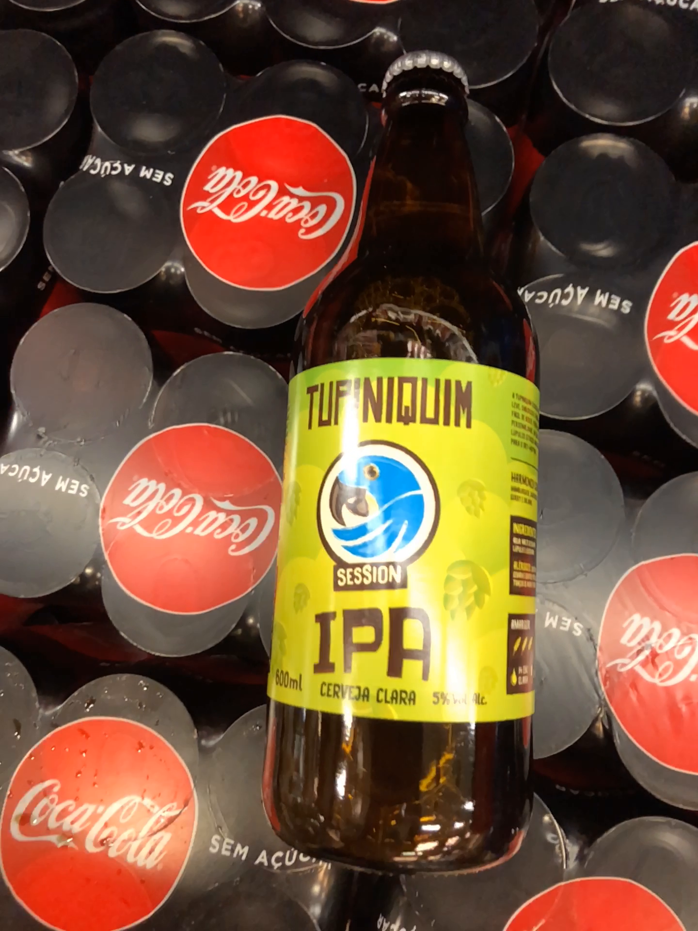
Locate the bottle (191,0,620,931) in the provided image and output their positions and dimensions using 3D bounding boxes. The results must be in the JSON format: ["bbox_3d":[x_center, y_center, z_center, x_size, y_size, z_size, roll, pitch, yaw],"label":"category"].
[{"bbox_3d":[0.019,-0.023,0.220,0.090,0.070,0.260,2,80,5],"label":"bottle"}]
